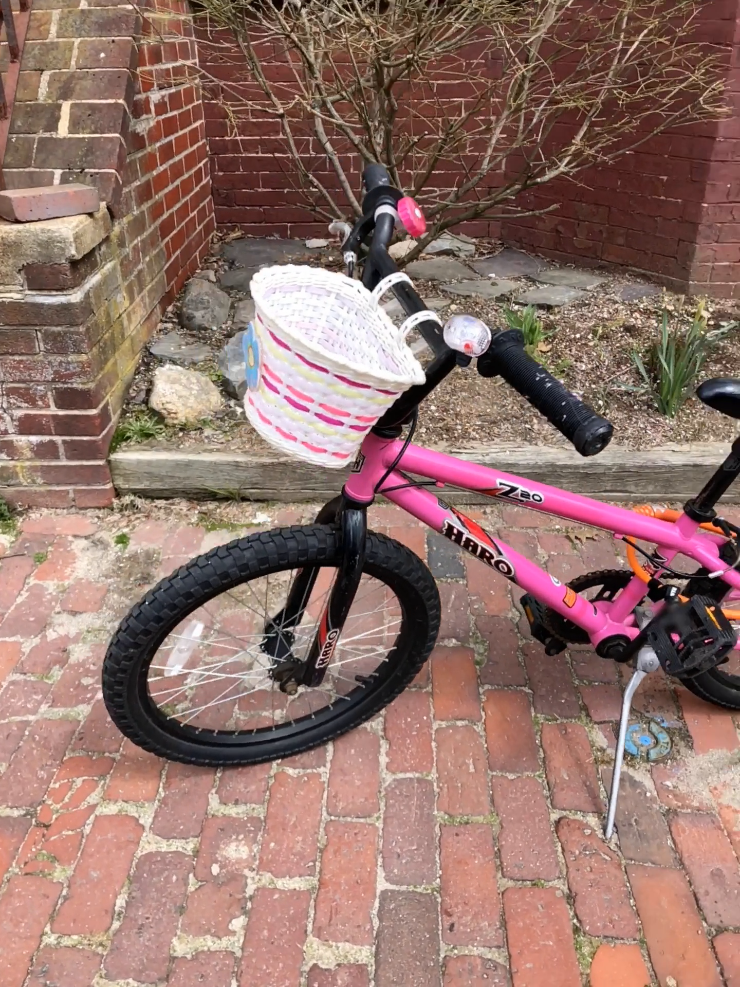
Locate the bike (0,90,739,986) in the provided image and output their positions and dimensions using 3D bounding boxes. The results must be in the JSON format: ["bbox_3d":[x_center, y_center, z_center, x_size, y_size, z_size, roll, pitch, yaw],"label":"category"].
[{"bbox_3d":[0.317,0.079,0.989,1.338,0.907,0.714,-3,30,-10],"label":"bike"}]
